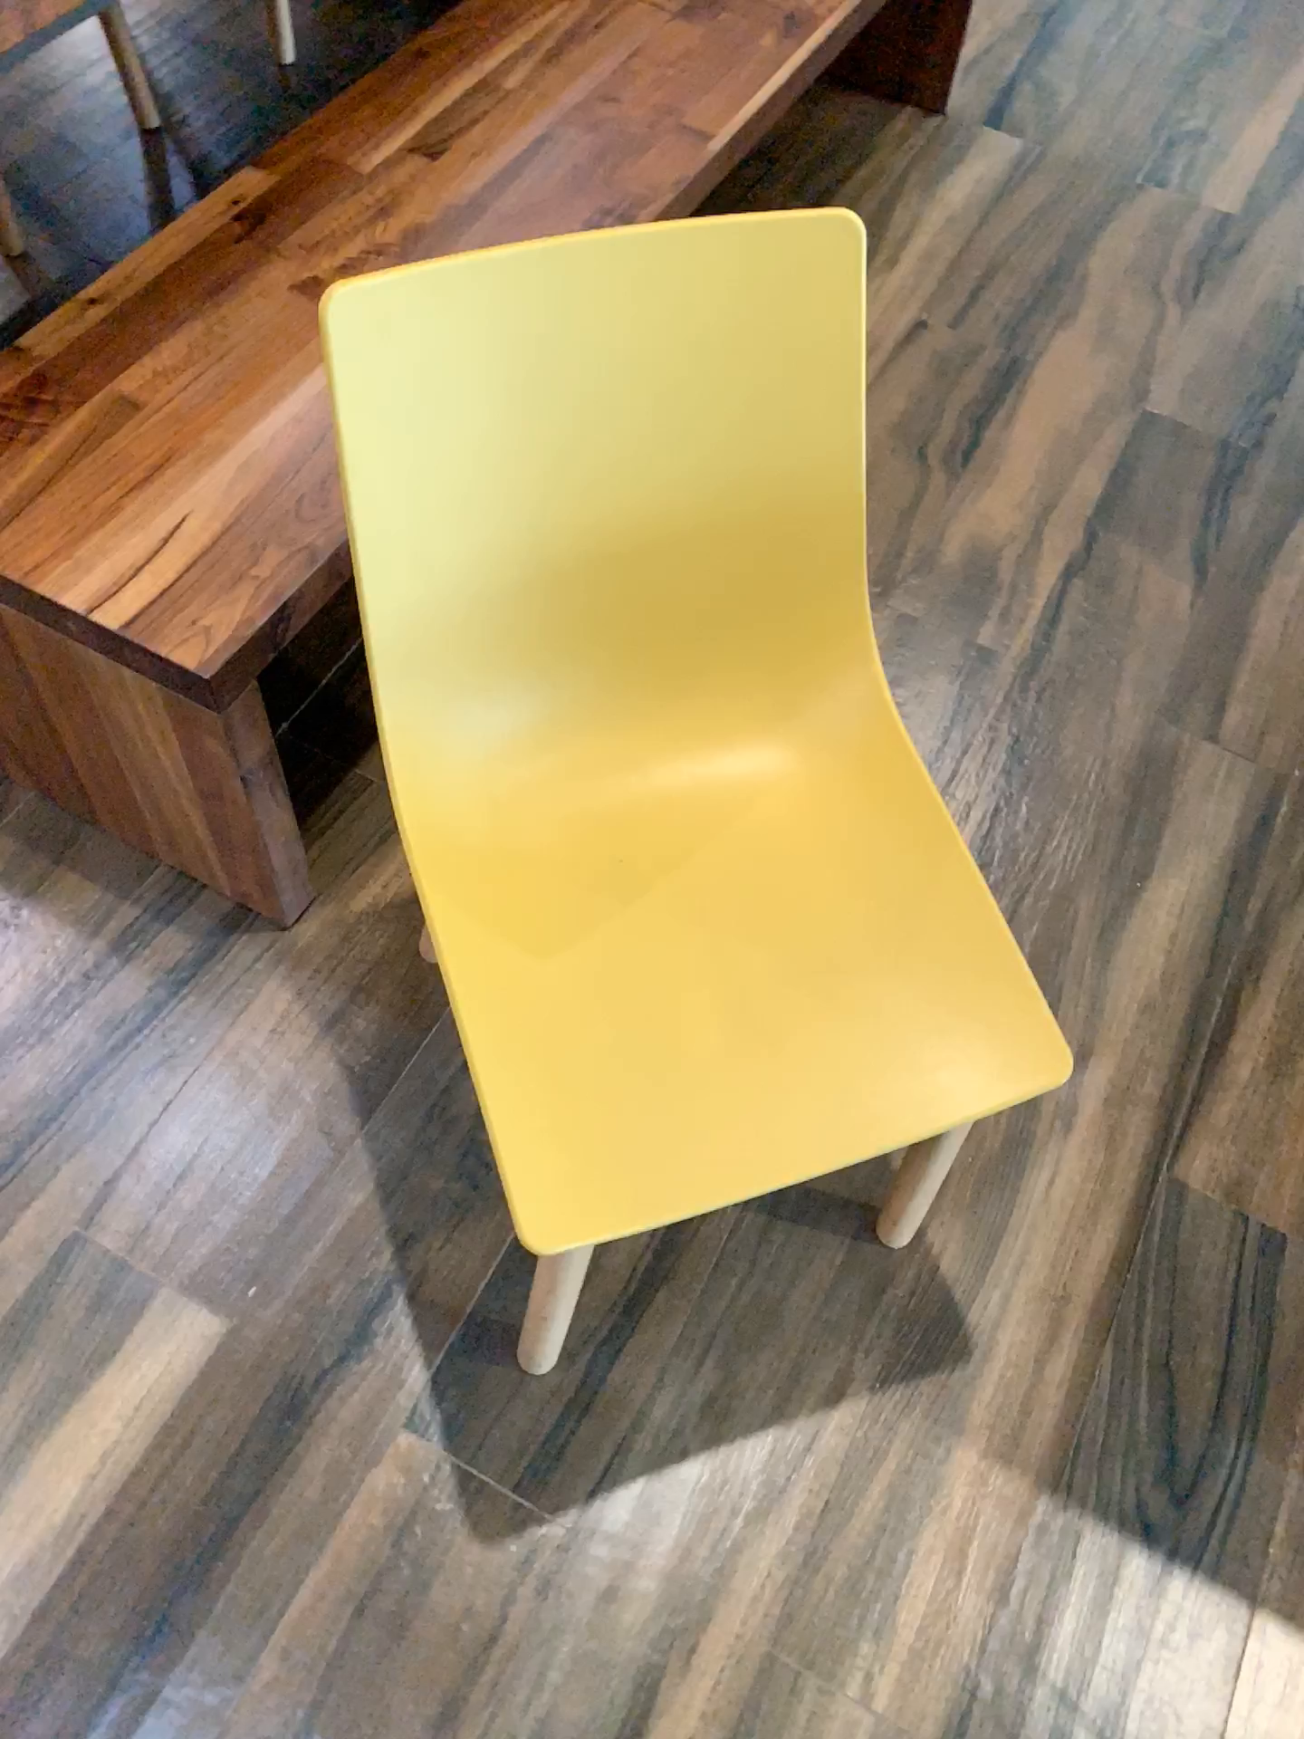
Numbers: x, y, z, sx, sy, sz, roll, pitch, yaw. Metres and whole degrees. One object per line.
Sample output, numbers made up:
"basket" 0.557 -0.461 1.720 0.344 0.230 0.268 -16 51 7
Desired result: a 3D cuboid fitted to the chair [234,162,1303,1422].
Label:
"chair" 0.042 0.006 0.961 0.450 0.716 0.502 -15 61 -14
